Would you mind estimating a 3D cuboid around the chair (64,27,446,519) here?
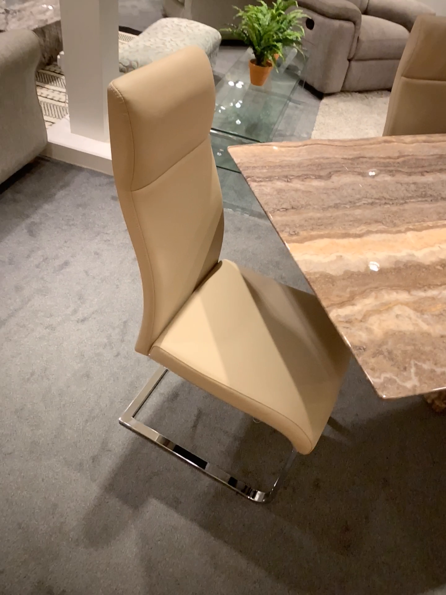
[{"bbox_3d":[0.061,-0.009,1.149,0.583,0.982,0.531,24,46,13],"label":"chair"}]
